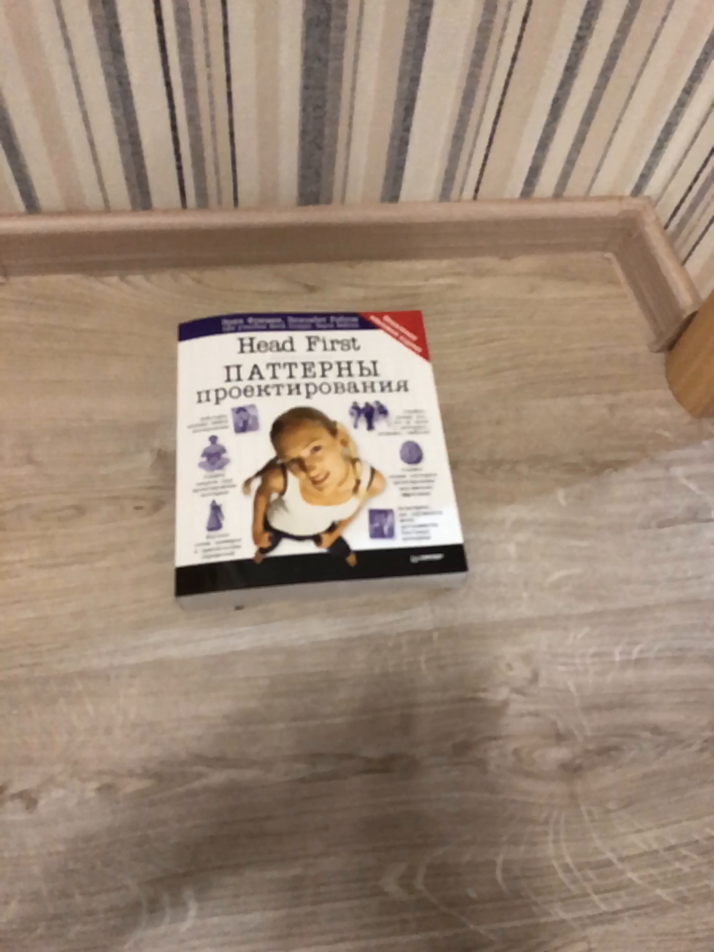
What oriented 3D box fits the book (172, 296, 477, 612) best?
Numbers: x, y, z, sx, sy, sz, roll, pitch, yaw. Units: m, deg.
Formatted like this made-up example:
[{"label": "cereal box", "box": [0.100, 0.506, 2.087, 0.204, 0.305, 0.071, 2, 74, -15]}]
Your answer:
[{"label": "book", "box": [-0.035, -0.027, 0.599, 0.206, 0.049, 0.241, -3, 63, -8]}]
